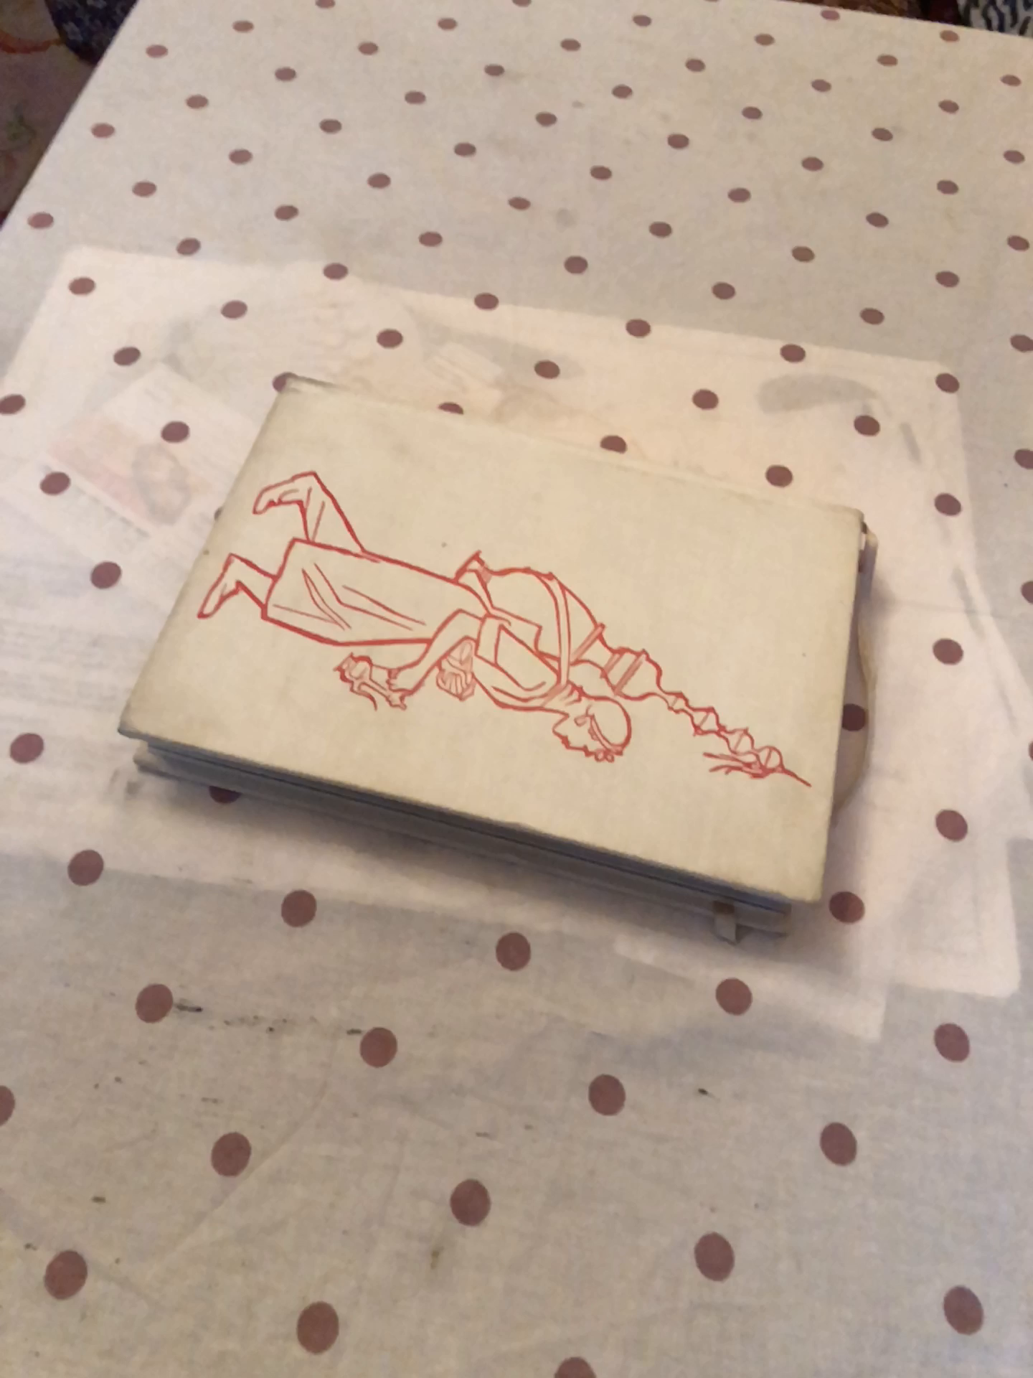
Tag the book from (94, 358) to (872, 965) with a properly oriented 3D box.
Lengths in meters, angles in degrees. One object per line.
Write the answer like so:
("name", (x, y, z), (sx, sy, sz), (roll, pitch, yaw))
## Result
("book", (0.000, -0.018, 0.423), (0.240, 0.050, 0.175), (14, 59, 3))
